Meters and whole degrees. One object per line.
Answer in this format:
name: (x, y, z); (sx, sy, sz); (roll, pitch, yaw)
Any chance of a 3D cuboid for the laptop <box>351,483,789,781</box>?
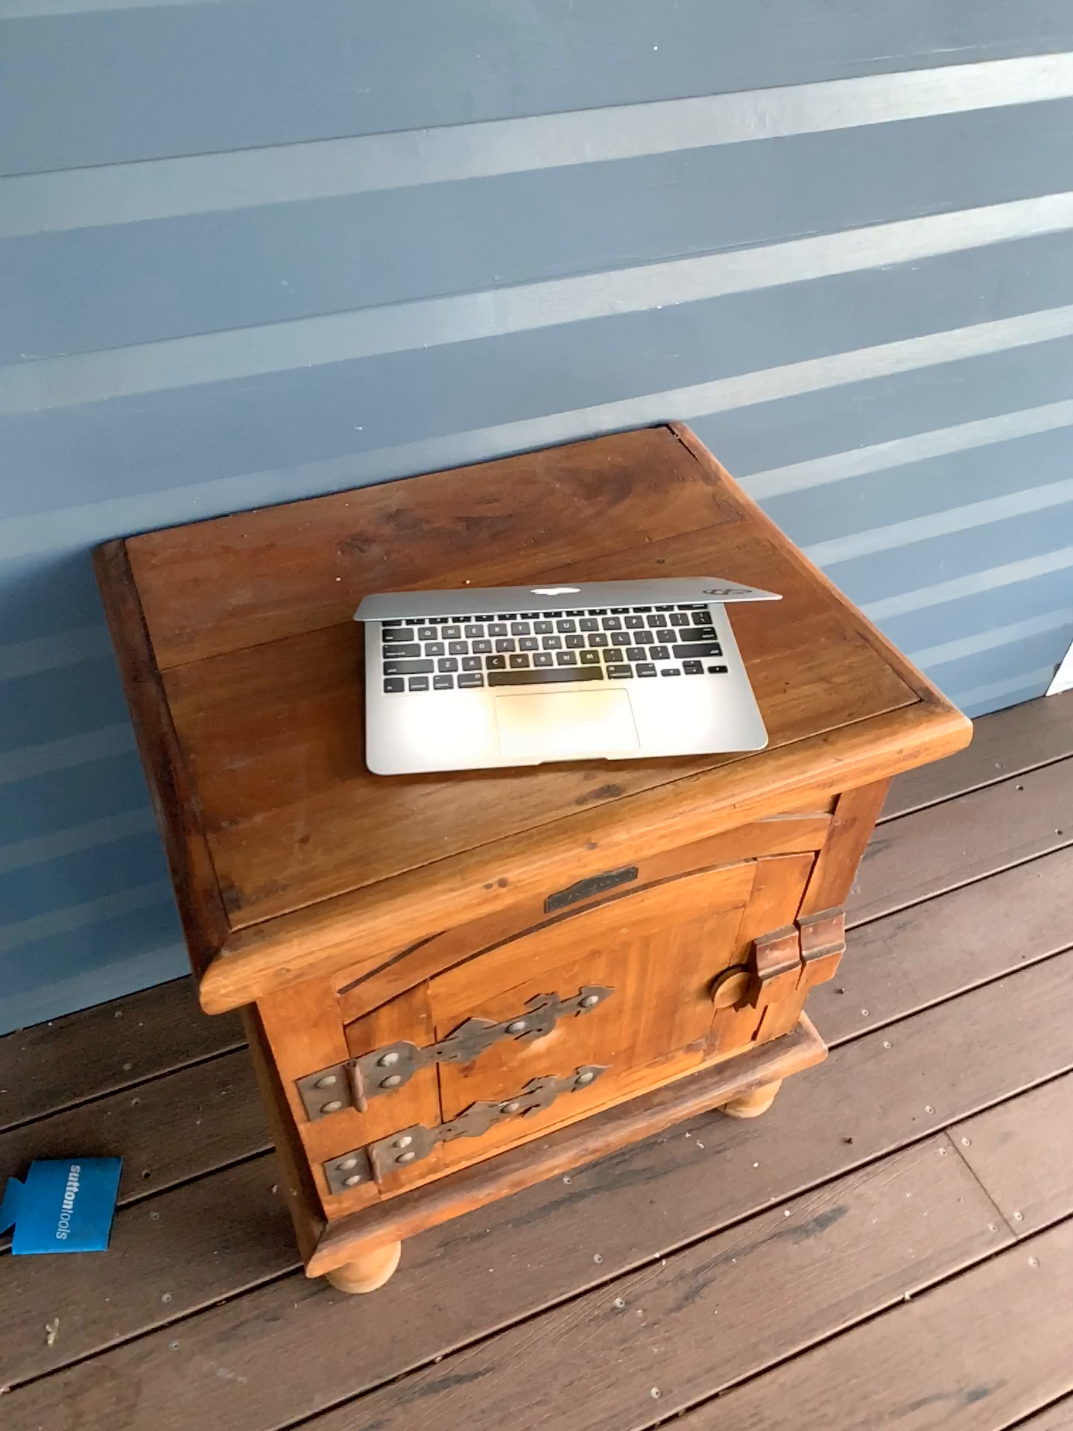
laptop: (0.013, -0.065, 0.794); (0.282, 0.099, 0.181); (-4, 47, -5)
